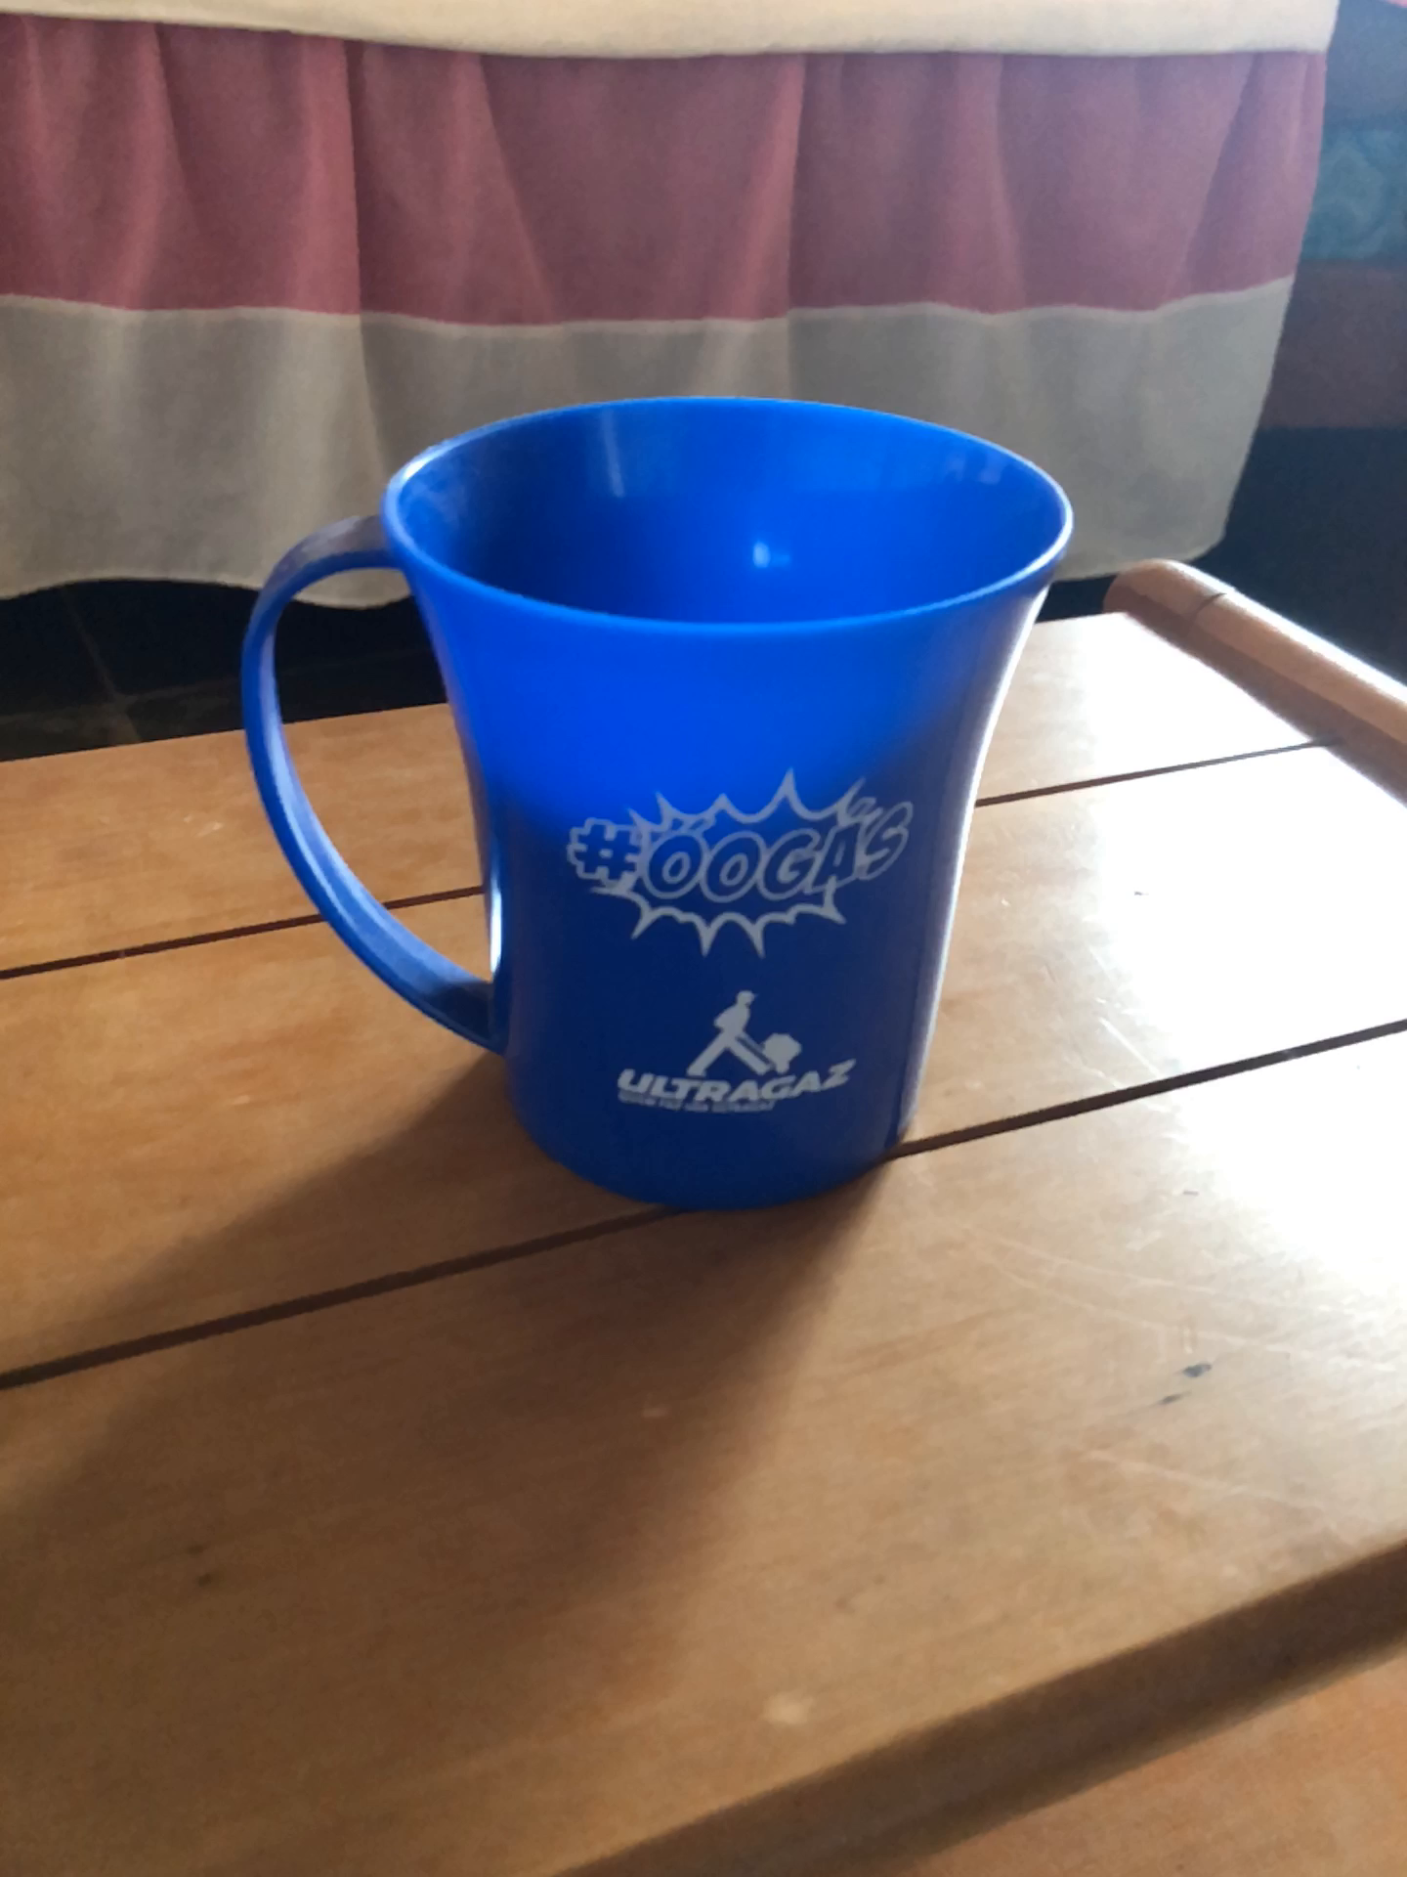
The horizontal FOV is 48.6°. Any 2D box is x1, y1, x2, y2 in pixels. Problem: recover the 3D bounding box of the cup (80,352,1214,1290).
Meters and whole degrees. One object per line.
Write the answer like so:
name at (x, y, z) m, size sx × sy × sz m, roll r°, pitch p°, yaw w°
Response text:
cup at (-0.010, -0.023, 0.234) m, size 0.120 × 0.099 × 0.101 m, roll -1°, pitch 34°, yaw -6°
